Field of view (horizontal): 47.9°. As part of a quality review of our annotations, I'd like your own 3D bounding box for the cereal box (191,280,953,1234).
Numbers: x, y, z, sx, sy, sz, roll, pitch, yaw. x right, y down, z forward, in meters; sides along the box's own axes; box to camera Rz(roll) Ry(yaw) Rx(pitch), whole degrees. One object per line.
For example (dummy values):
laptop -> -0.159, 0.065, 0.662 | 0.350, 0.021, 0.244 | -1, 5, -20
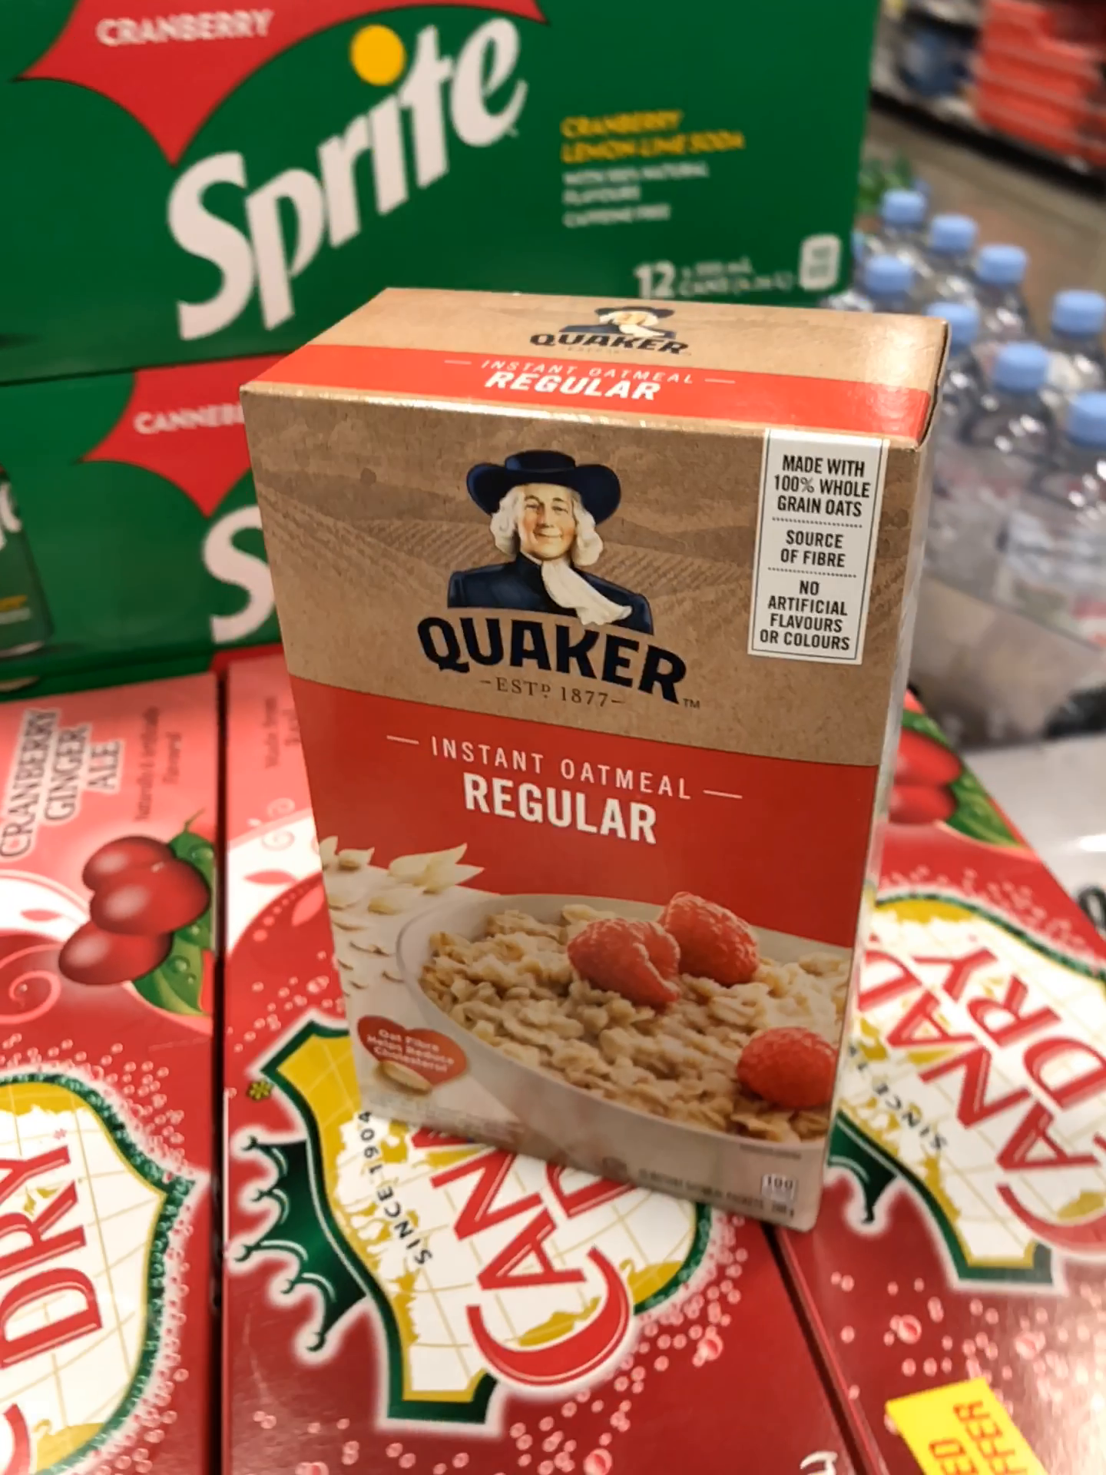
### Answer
cereal box -> 0.009, 0.009, 0.291 | 0.130, 0.199, 0.070 | 9, 35, 15
